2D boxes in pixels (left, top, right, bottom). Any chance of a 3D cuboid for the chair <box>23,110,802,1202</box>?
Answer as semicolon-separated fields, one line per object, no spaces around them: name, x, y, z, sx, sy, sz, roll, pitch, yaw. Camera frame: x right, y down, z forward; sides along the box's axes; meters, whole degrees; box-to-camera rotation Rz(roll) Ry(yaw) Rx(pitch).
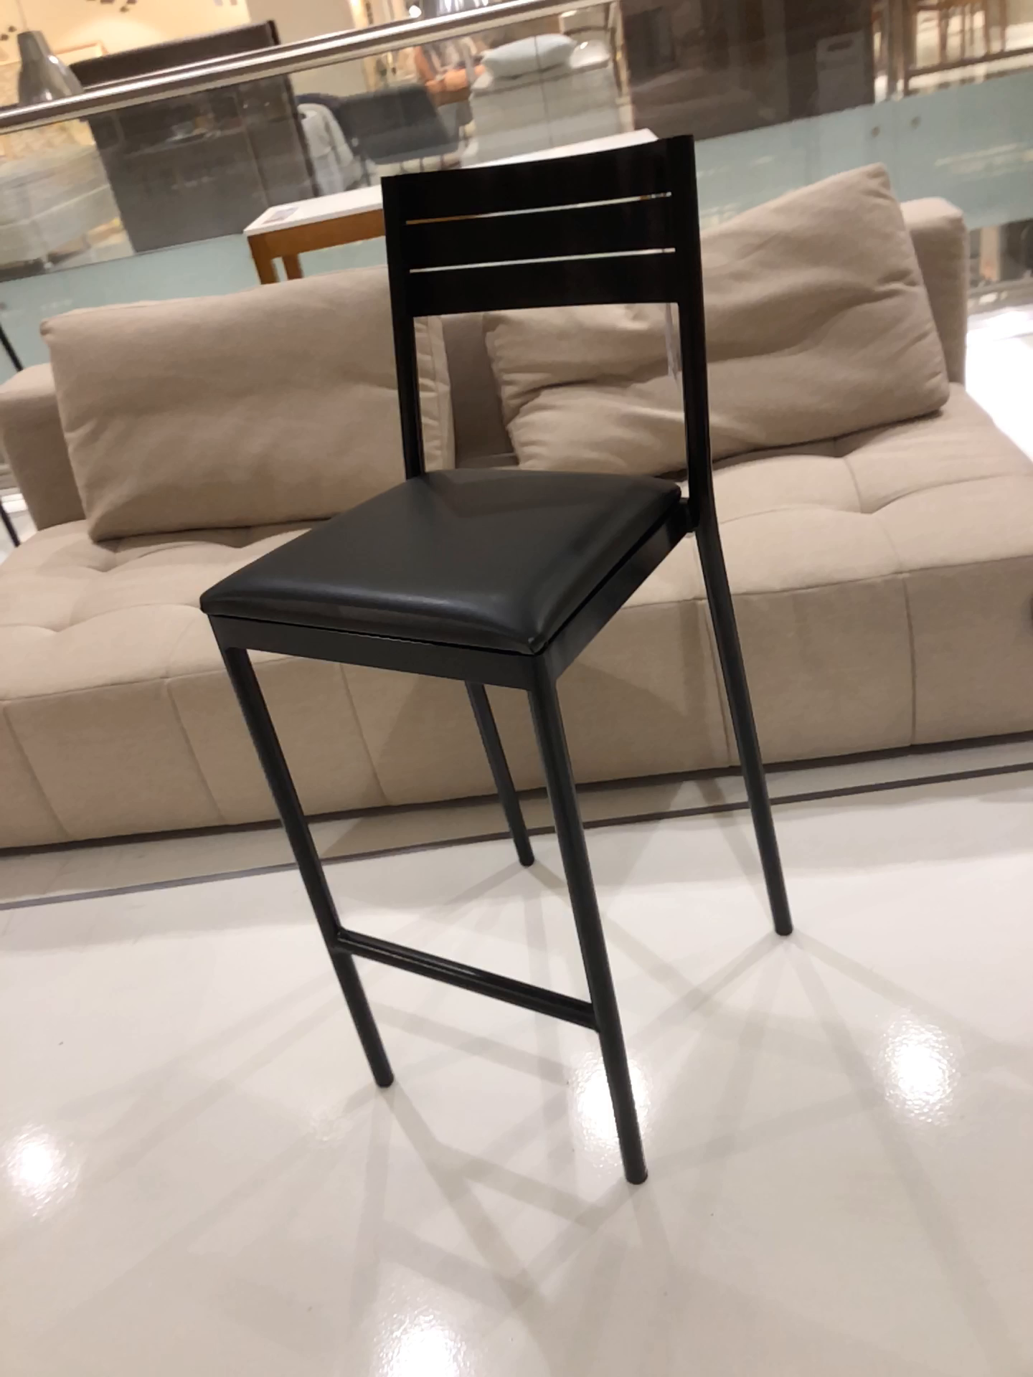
chair;-0.009;-0.021;1.199;0.421;0.943;0.473;7;36;31
